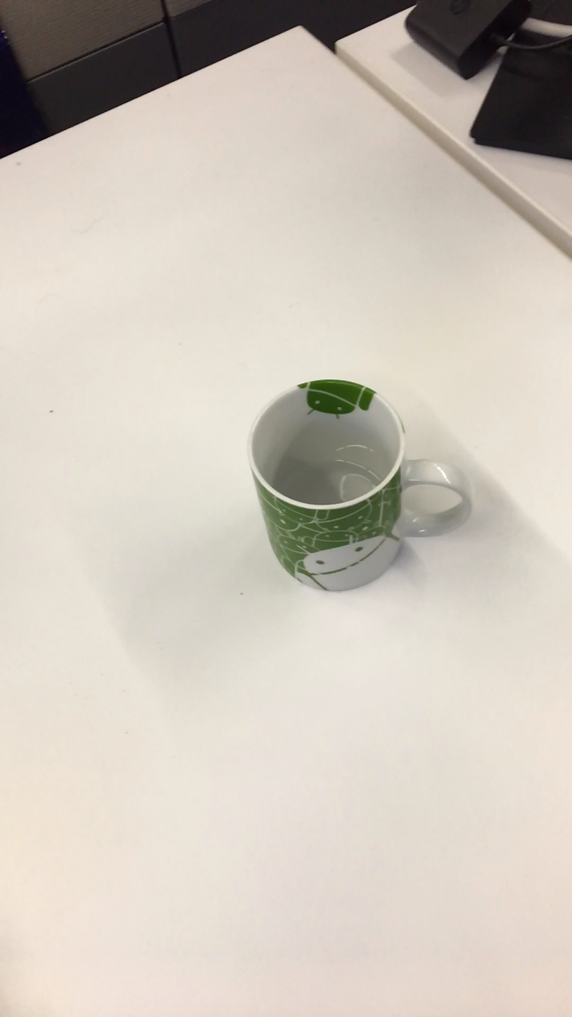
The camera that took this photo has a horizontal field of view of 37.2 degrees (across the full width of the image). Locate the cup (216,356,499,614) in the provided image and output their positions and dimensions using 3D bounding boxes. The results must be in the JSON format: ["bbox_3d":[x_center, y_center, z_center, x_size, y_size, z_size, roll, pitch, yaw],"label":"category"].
[{"bbox_3d":[0.038,-0.011,0.422,0.120,0.090,0.090,2,60,8],"label":"cup"}]
